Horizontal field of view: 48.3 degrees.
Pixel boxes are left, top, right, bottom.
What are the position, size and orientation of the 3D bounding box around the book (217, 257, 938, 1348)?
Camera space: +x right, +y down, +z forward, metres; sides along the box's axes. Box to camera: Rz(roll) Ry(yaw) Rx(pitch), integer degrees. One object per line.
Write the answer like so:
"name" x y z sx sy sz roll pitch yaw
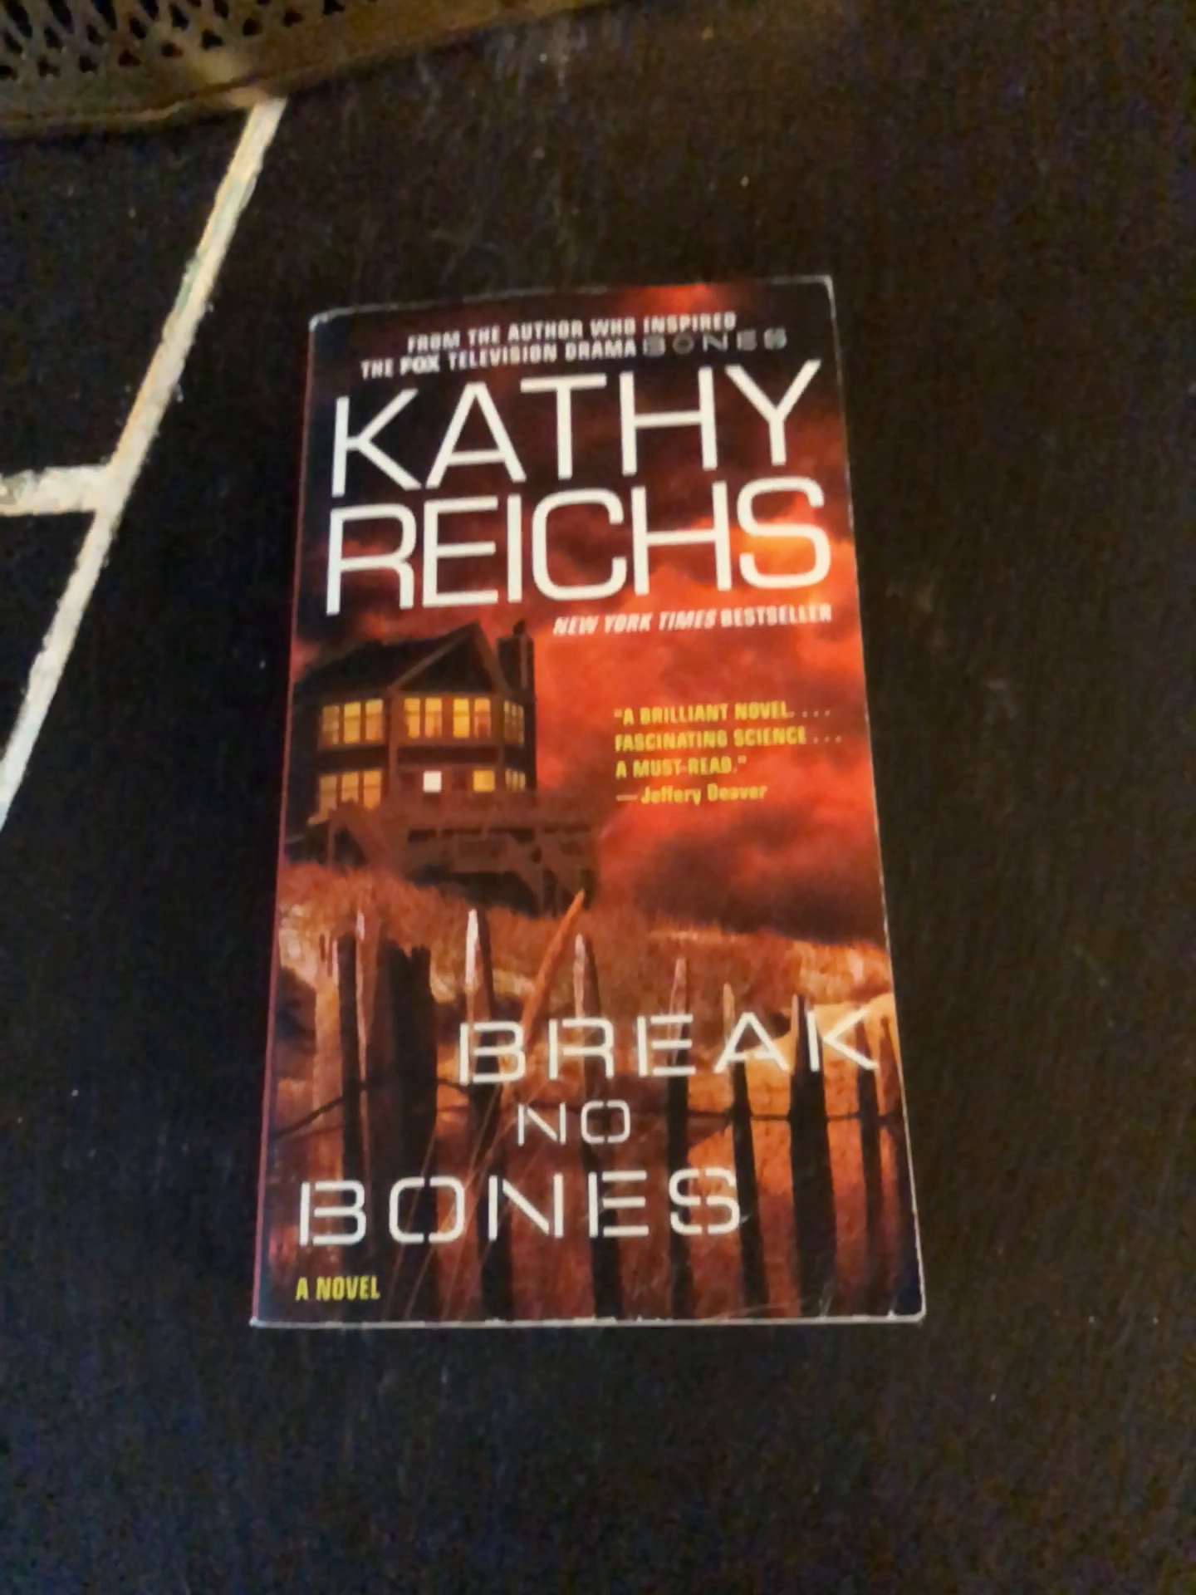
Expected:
"book" -0.004 -0.005 0.241 0.108 0.030 0.190 -2 73 4
